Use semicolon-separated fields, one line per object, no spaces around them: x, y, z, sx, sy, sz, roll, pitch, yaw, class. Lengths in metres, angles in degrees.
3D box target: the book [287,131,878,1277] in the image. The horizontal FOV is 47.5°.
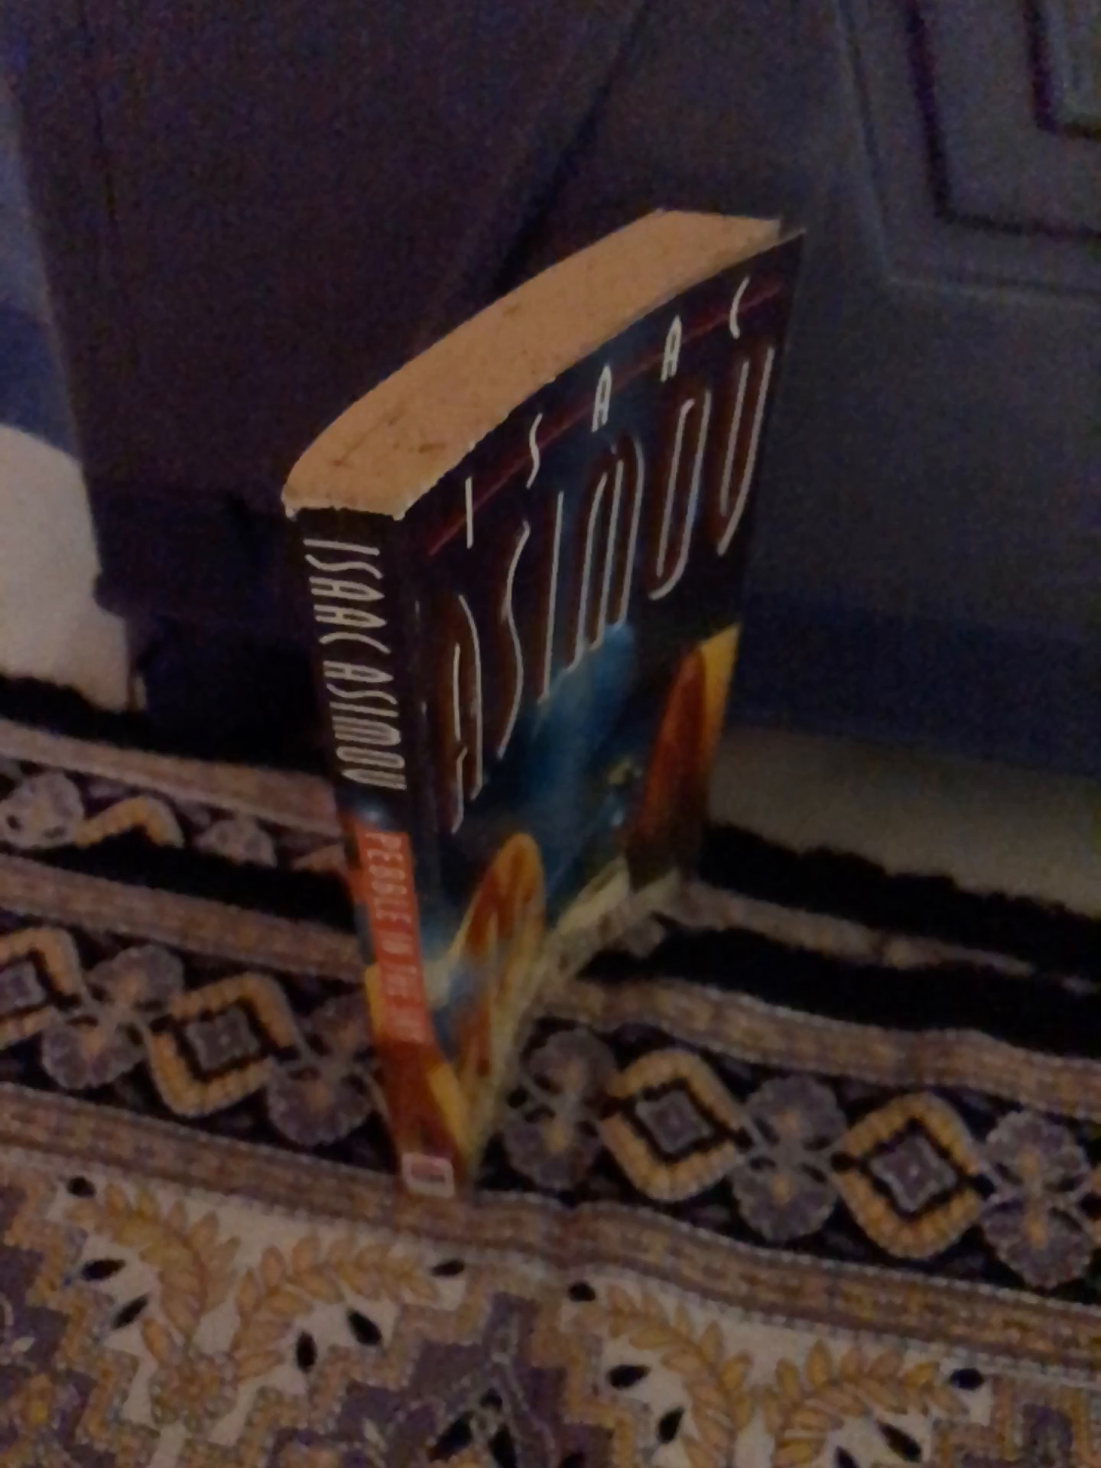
0.013;-0.004;0.261;0.030;0.189;0.151;20;44;19;book
